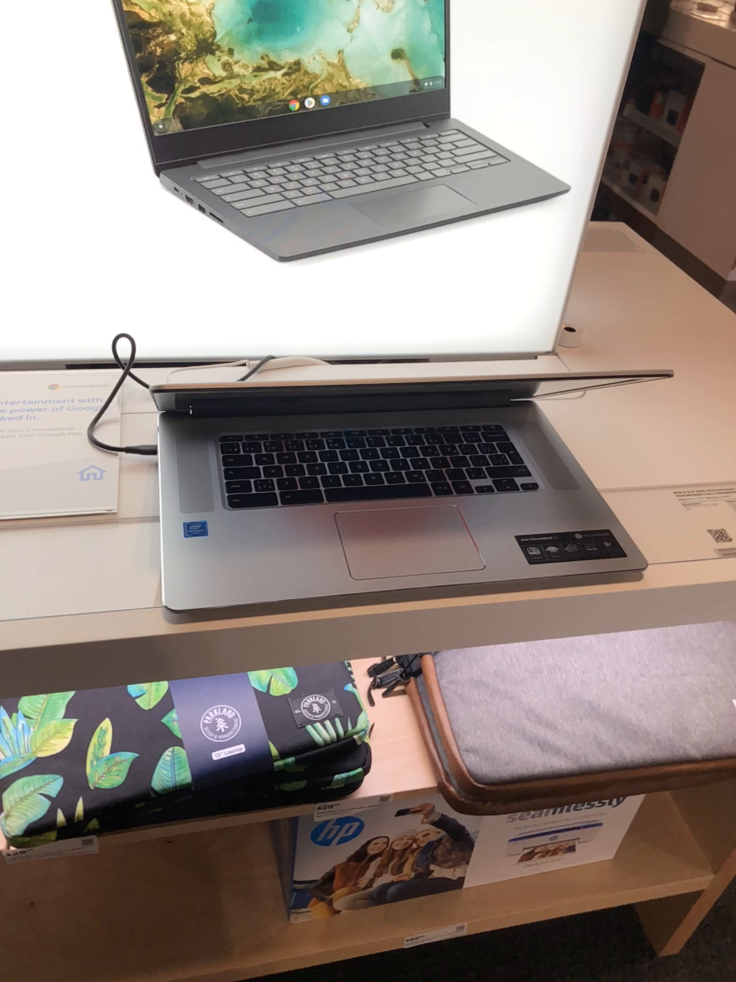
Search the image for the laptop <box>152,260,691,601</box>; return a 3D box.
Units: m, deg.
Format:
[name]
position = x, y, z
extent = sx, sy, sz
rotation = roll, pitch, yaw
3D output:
[laptop]
position = 0.022, -0.064, 0.655
extent = 0.364, 0.146, 0.232
rotation = -3, 40, -16
